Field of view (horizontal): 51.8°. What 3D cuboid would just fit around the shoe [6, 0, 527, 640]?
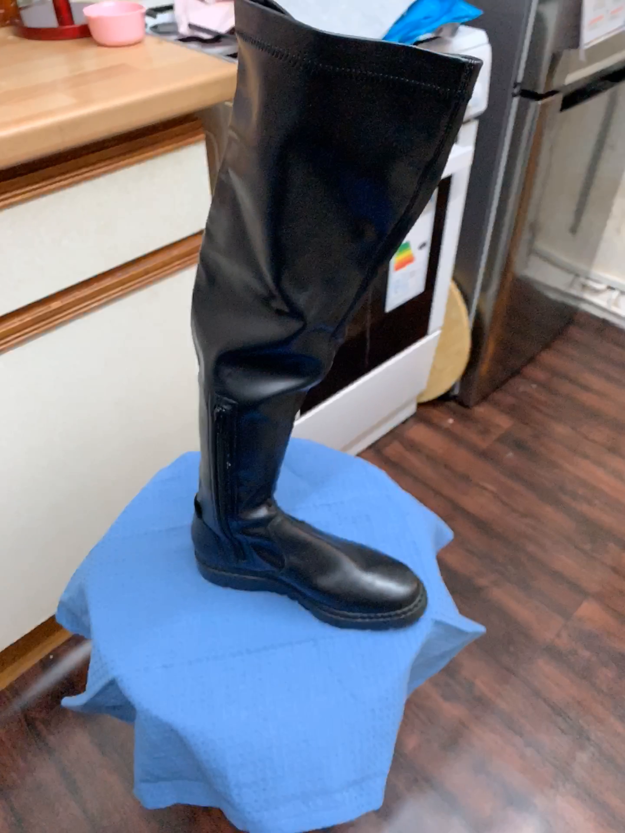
[{"bbox_3d":[-0.015,-0.028,0.539,0.271,0.535,0.107,10,44,12],"label":"shoe"}]
